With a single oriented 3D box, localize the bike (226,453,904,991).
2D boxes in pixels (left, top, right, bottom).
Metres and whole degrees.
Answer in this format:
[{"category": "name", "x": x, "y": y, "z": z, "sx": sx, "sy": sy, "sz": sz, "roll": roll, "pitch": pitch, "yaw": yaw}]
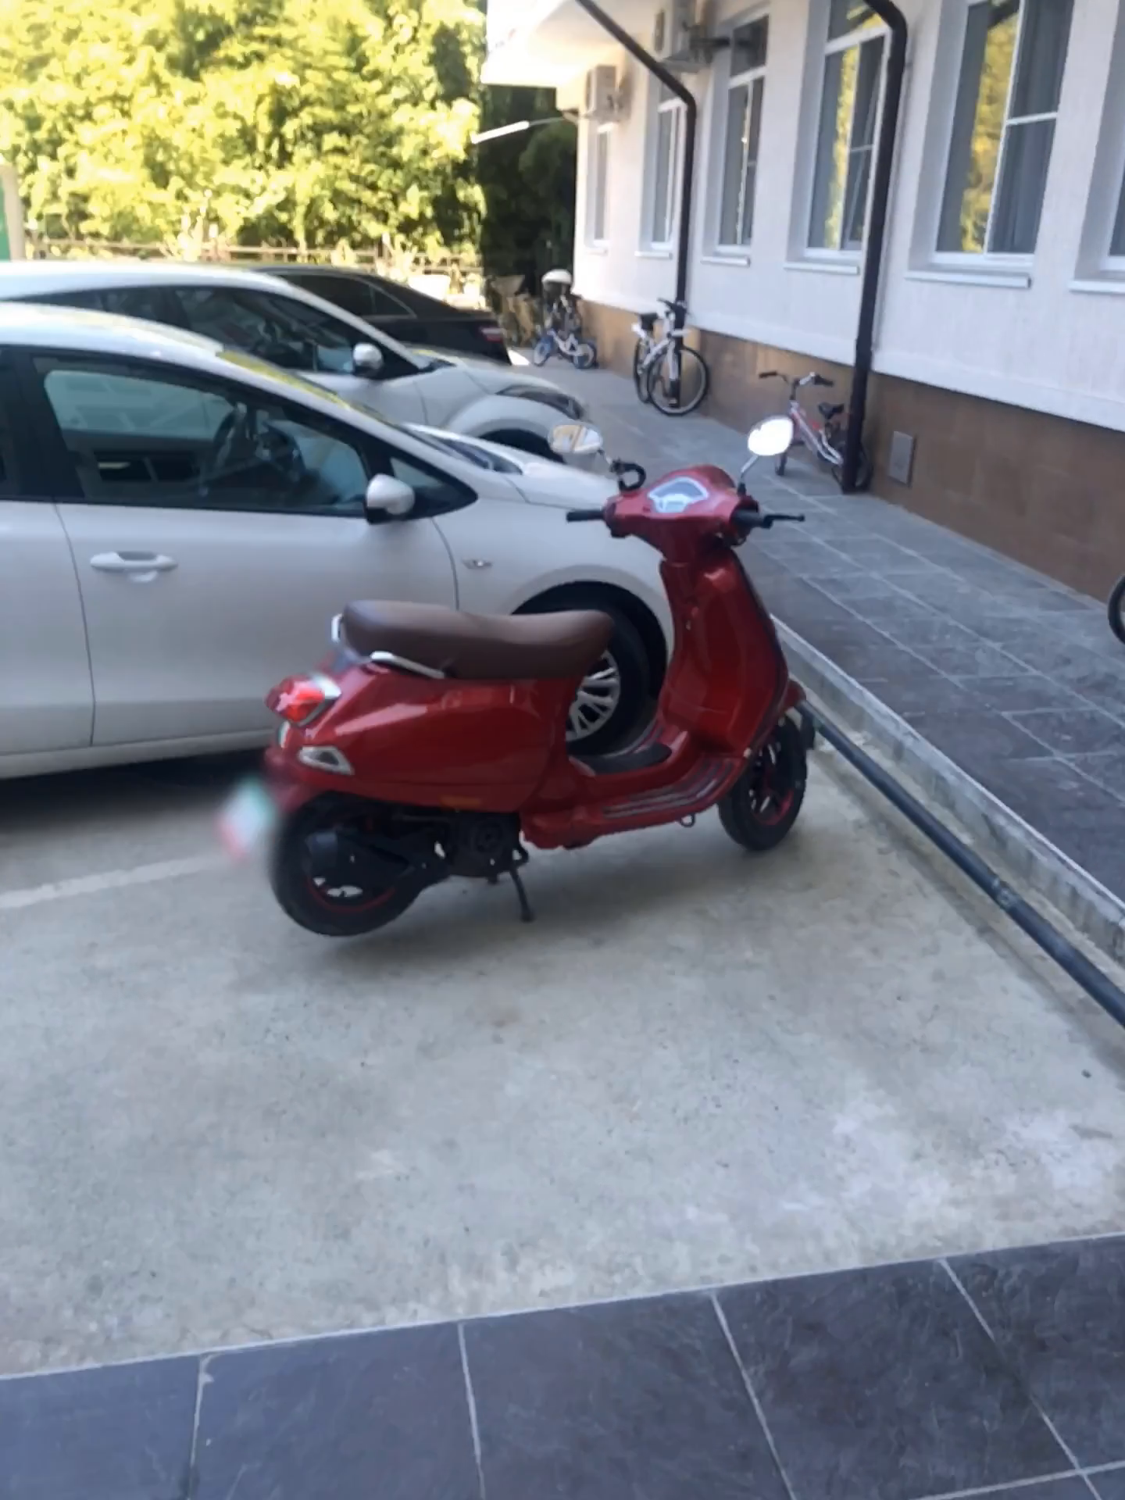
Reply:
[{"category": "bike", "x": 0.034, "y": -0.164, "z": 3.130, "sx": 1.595, "sy": 0.951, "sz": 0.536, "roll": -12, "pitch": 25, "yaw": -29}]
